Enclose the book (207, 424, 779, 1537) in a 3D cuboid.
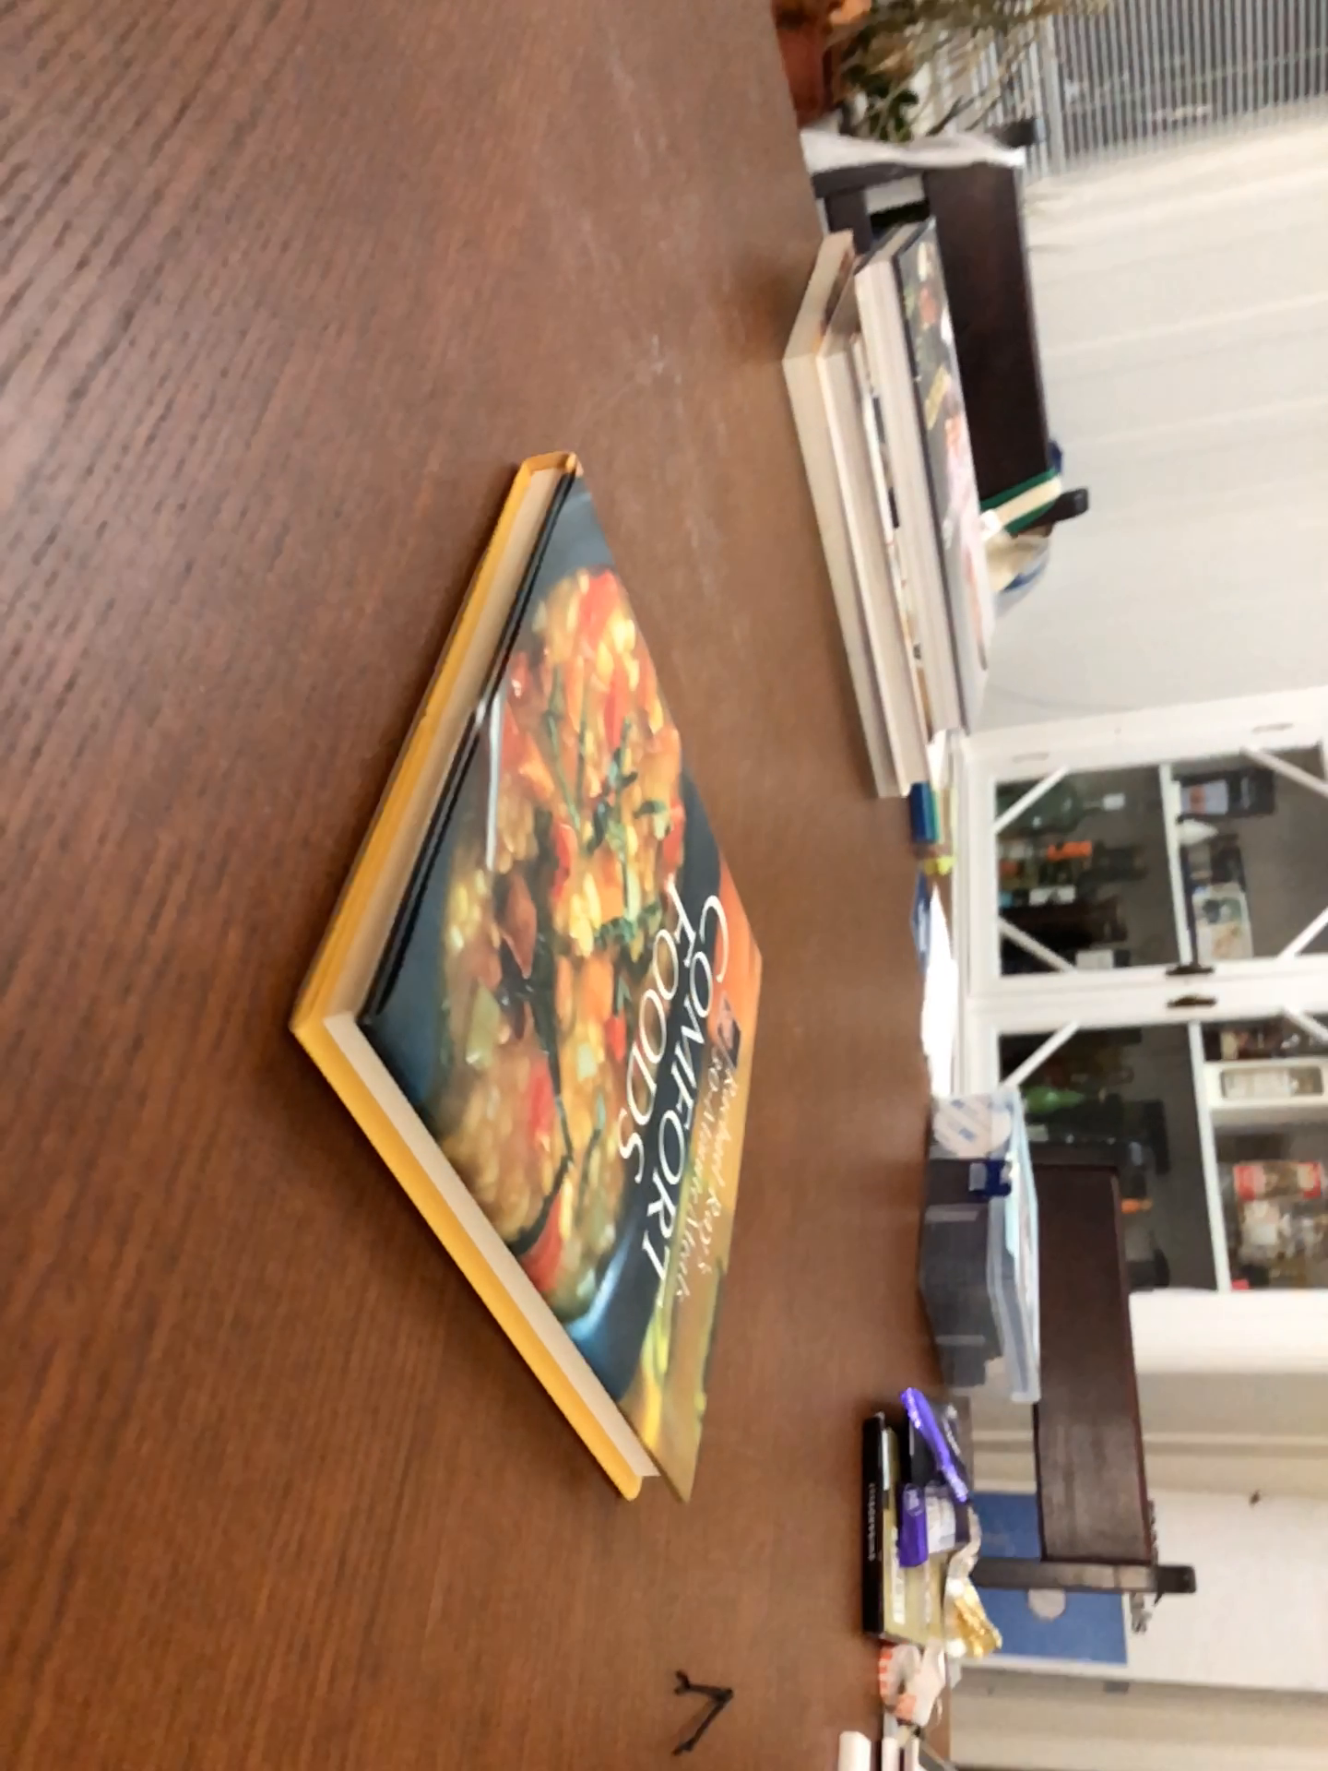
[{"bbox_3d":[-0.019,0.026,0.384,0.201,0.030,0.210,-78,155,-44],"label":"book"}]
